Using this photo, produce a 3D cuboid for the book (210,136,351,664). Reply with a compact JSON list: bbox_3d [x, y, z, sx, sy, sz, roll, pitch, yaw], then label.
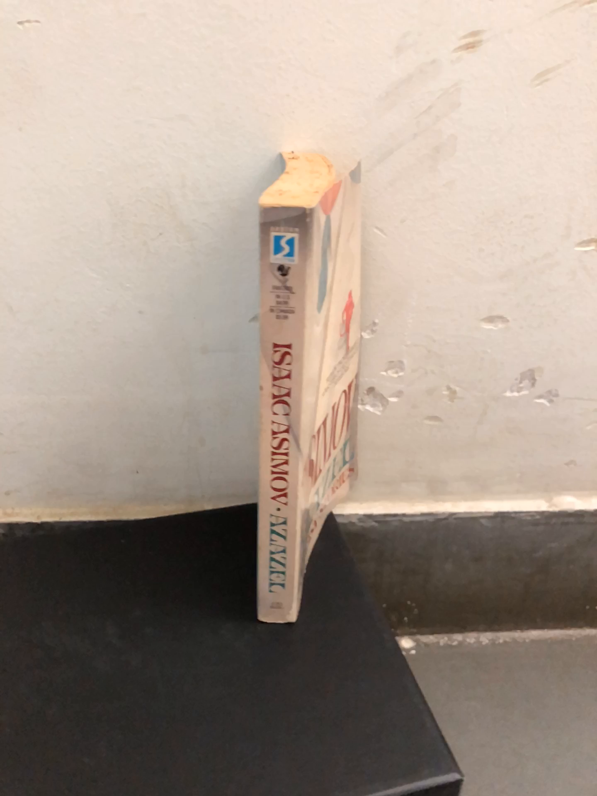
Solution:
[{"bbox_3d":[0.003,-0.008,0.303,0.030,0.189,0.151,2,28,8],"label":"book"}]
